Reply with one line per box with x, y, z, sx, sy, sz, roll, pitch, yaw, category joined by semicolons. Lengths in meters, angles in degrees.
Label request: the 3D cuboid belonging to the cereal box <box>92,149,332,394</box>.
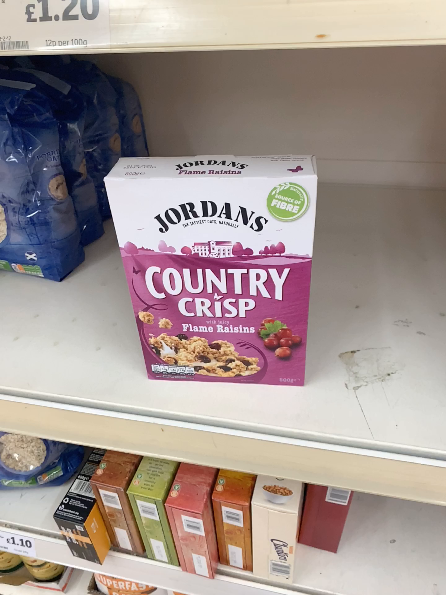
-0.003;-0.014;0.474;0.200;0.258;0.050;1;35;7;cereal box
